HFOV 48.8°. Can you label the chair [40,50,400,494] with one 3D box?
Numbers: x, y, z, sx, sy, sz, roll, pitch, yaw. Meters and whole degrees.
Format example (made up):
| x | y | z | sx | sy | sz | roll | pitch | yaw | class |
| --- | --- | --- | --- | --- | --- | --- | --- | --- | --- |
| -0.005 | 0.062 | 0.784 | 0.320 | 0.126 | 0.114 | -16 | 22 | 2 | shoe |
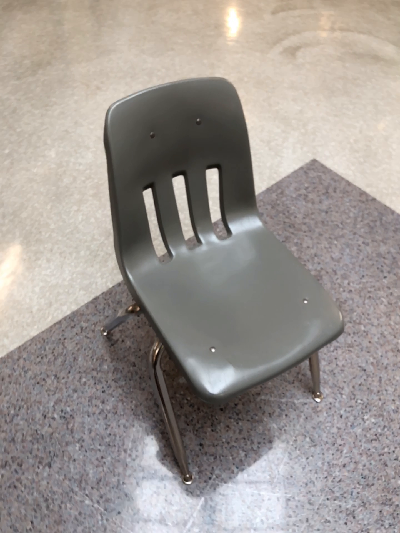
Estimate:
| x | y | z | sx | sy | sz | roll | pitch | yaw | class |
| --- | --- | --- | --- | --- | --- | --- | --- | --- | --- |
| 0.062 | 0.025 | 0.977 | 0.511 | 0.666 | 0.553 | -23 | 57 | -21 | chair |
